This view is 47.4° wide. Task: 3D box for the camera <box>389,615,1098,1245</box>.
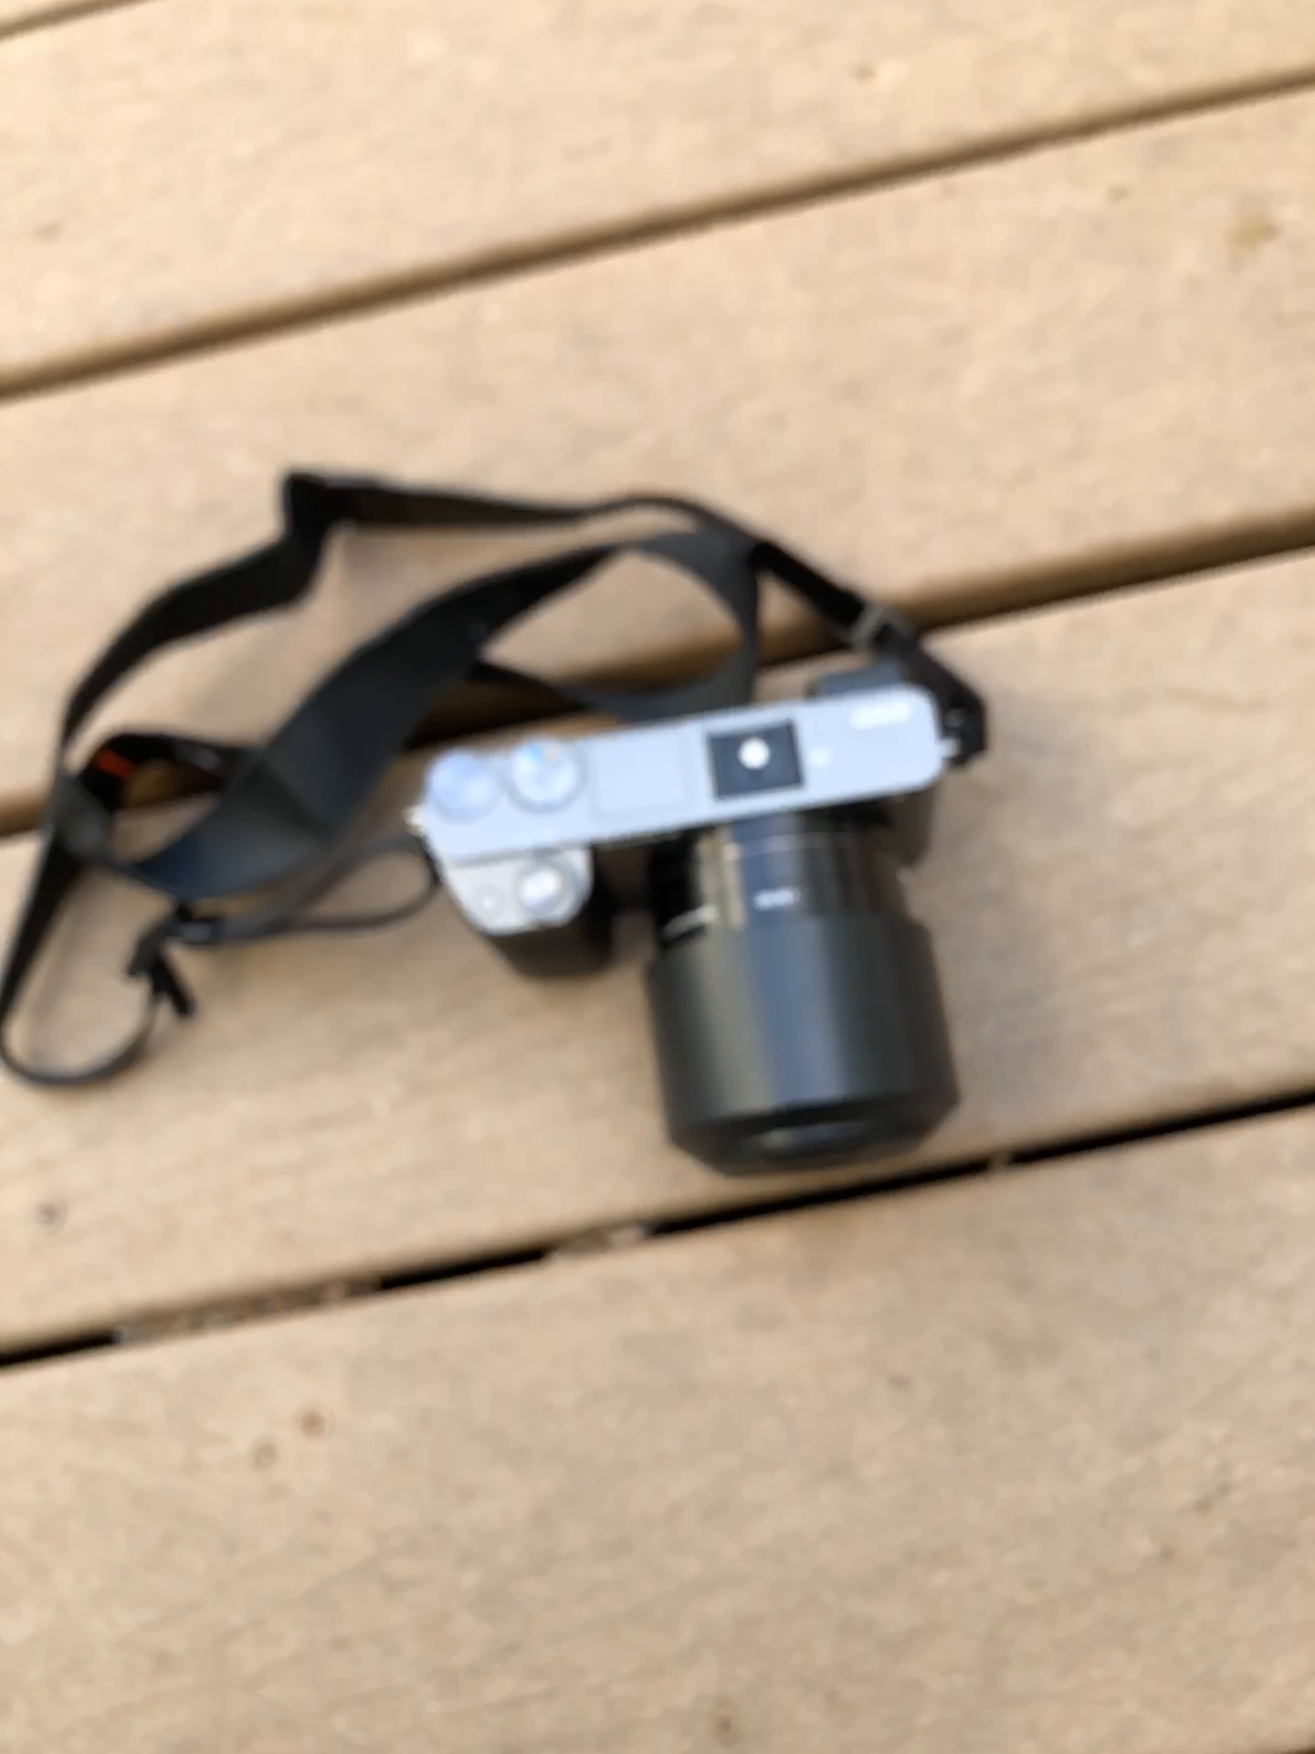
[{"bbox_3d":[0.016,0.016,0.340,0.130,0.070,0.110,-9,73,3],"label":"camera"}]
